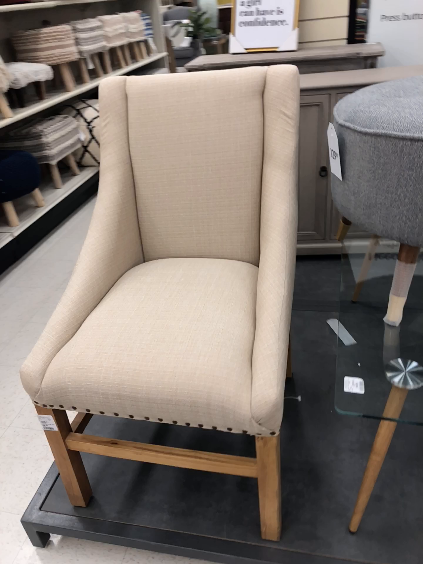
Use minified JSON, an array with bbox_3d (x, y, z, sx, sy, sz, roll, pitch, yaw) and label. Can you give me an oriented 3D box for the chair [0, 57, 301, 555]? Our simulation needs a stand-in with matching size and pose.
[{"bbox_3d":[-0.107,0.034,1.166,0.610,0.966,0.652,2,32,14],"label":"chair"}]
